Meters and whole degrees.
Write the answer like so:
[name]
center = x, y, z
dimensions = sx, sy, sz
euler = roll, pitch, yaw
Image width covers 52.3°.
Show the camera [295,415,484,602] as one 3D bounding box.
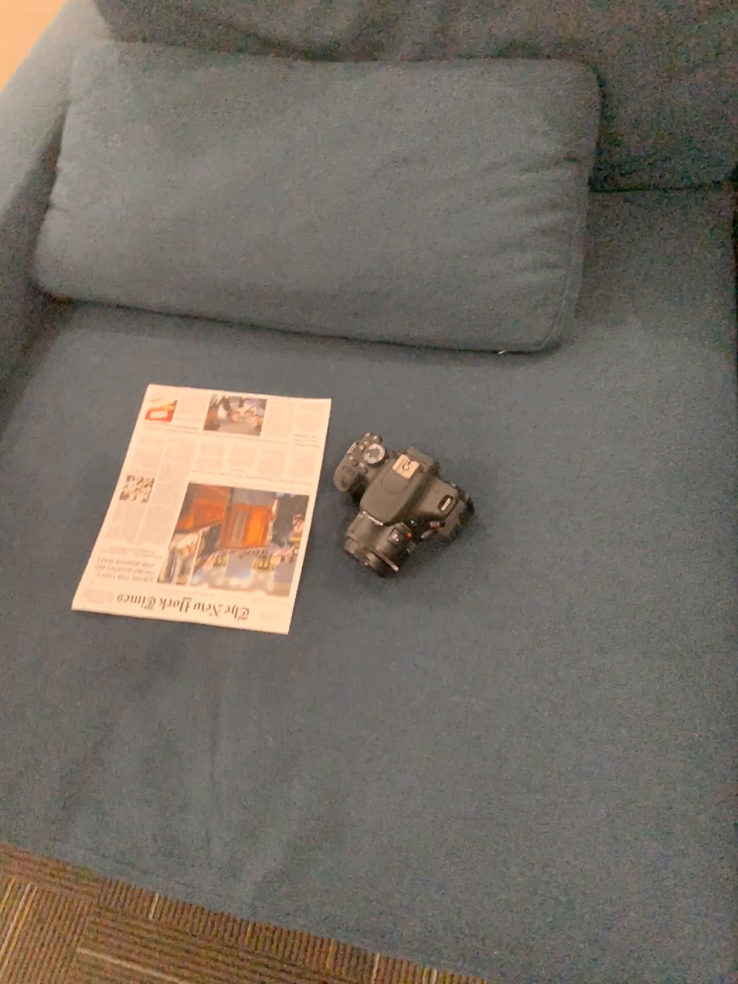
[camera]
center = 0.023, 0.018, 0.716
dimensions = 0.120, 0.100, 0.108
euler = 33, 82, 23
